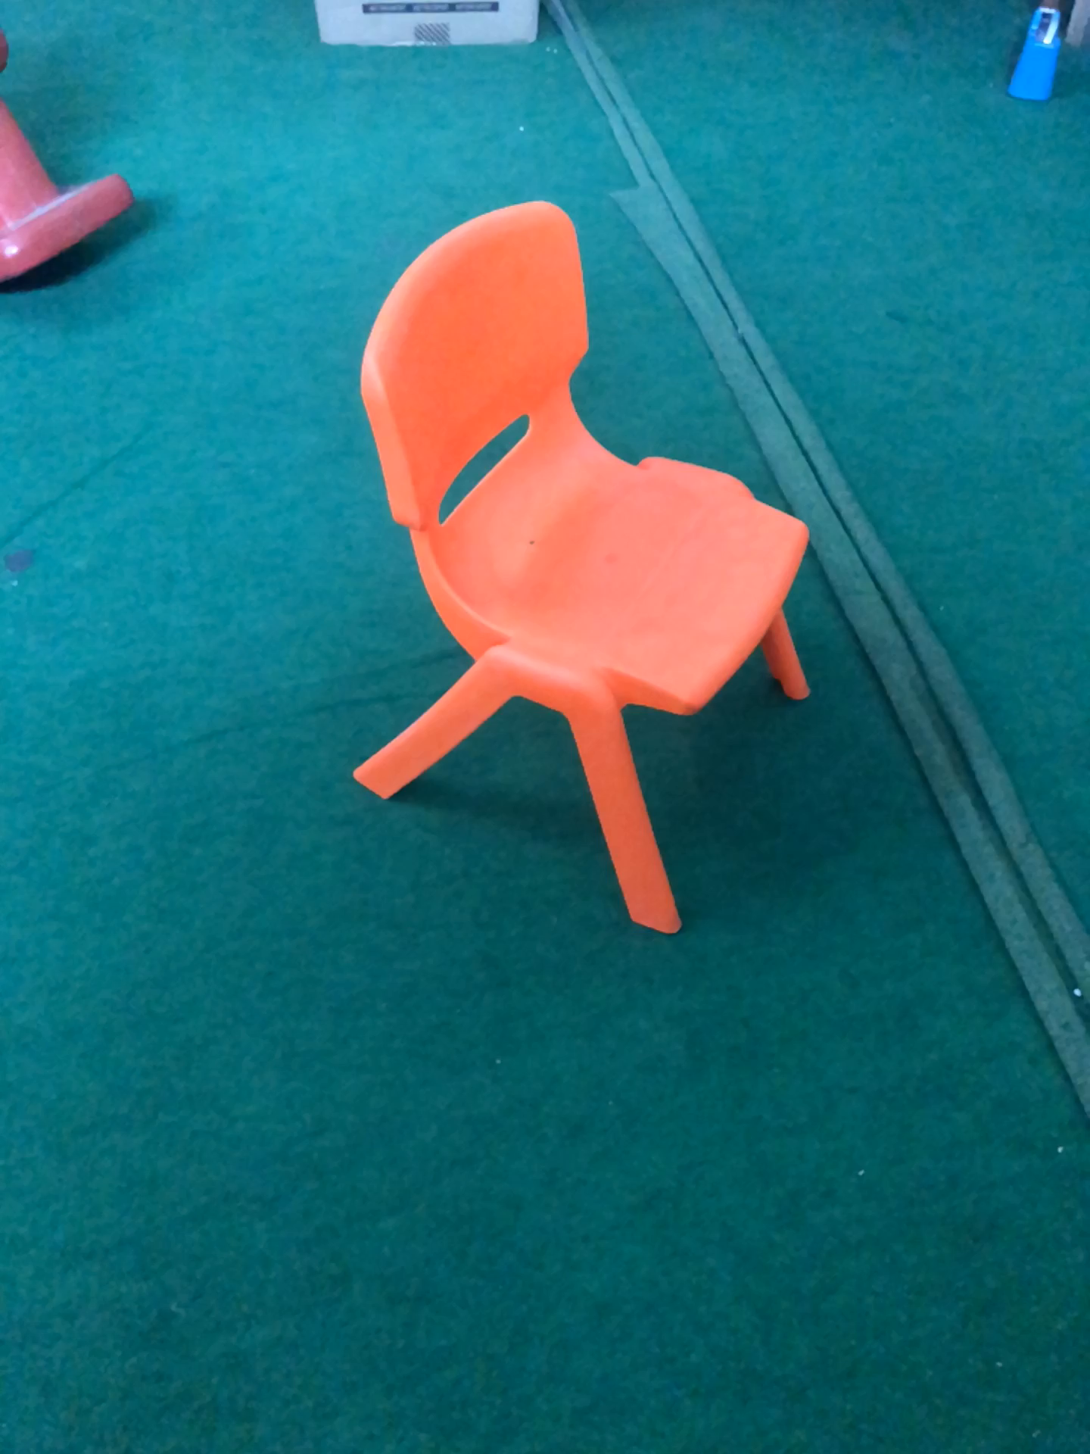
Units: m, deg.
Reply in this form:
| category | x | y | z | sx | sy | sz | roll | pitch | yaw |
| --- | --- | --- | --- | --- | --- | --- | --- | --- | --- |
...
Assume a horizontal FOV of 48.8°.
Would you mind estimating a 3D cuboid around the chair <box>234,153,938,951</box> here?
| category | x | y | z | sx | sy | sz | roll | pitch | yaw |
| --- | --- | --- | --- | --- | --- | --- | --- | --- | --- |
| chair | 0.040 | -0.148 | 1.055 | 0.390 | 0.479 | 0.361 | 23 | 53 | 18 |
